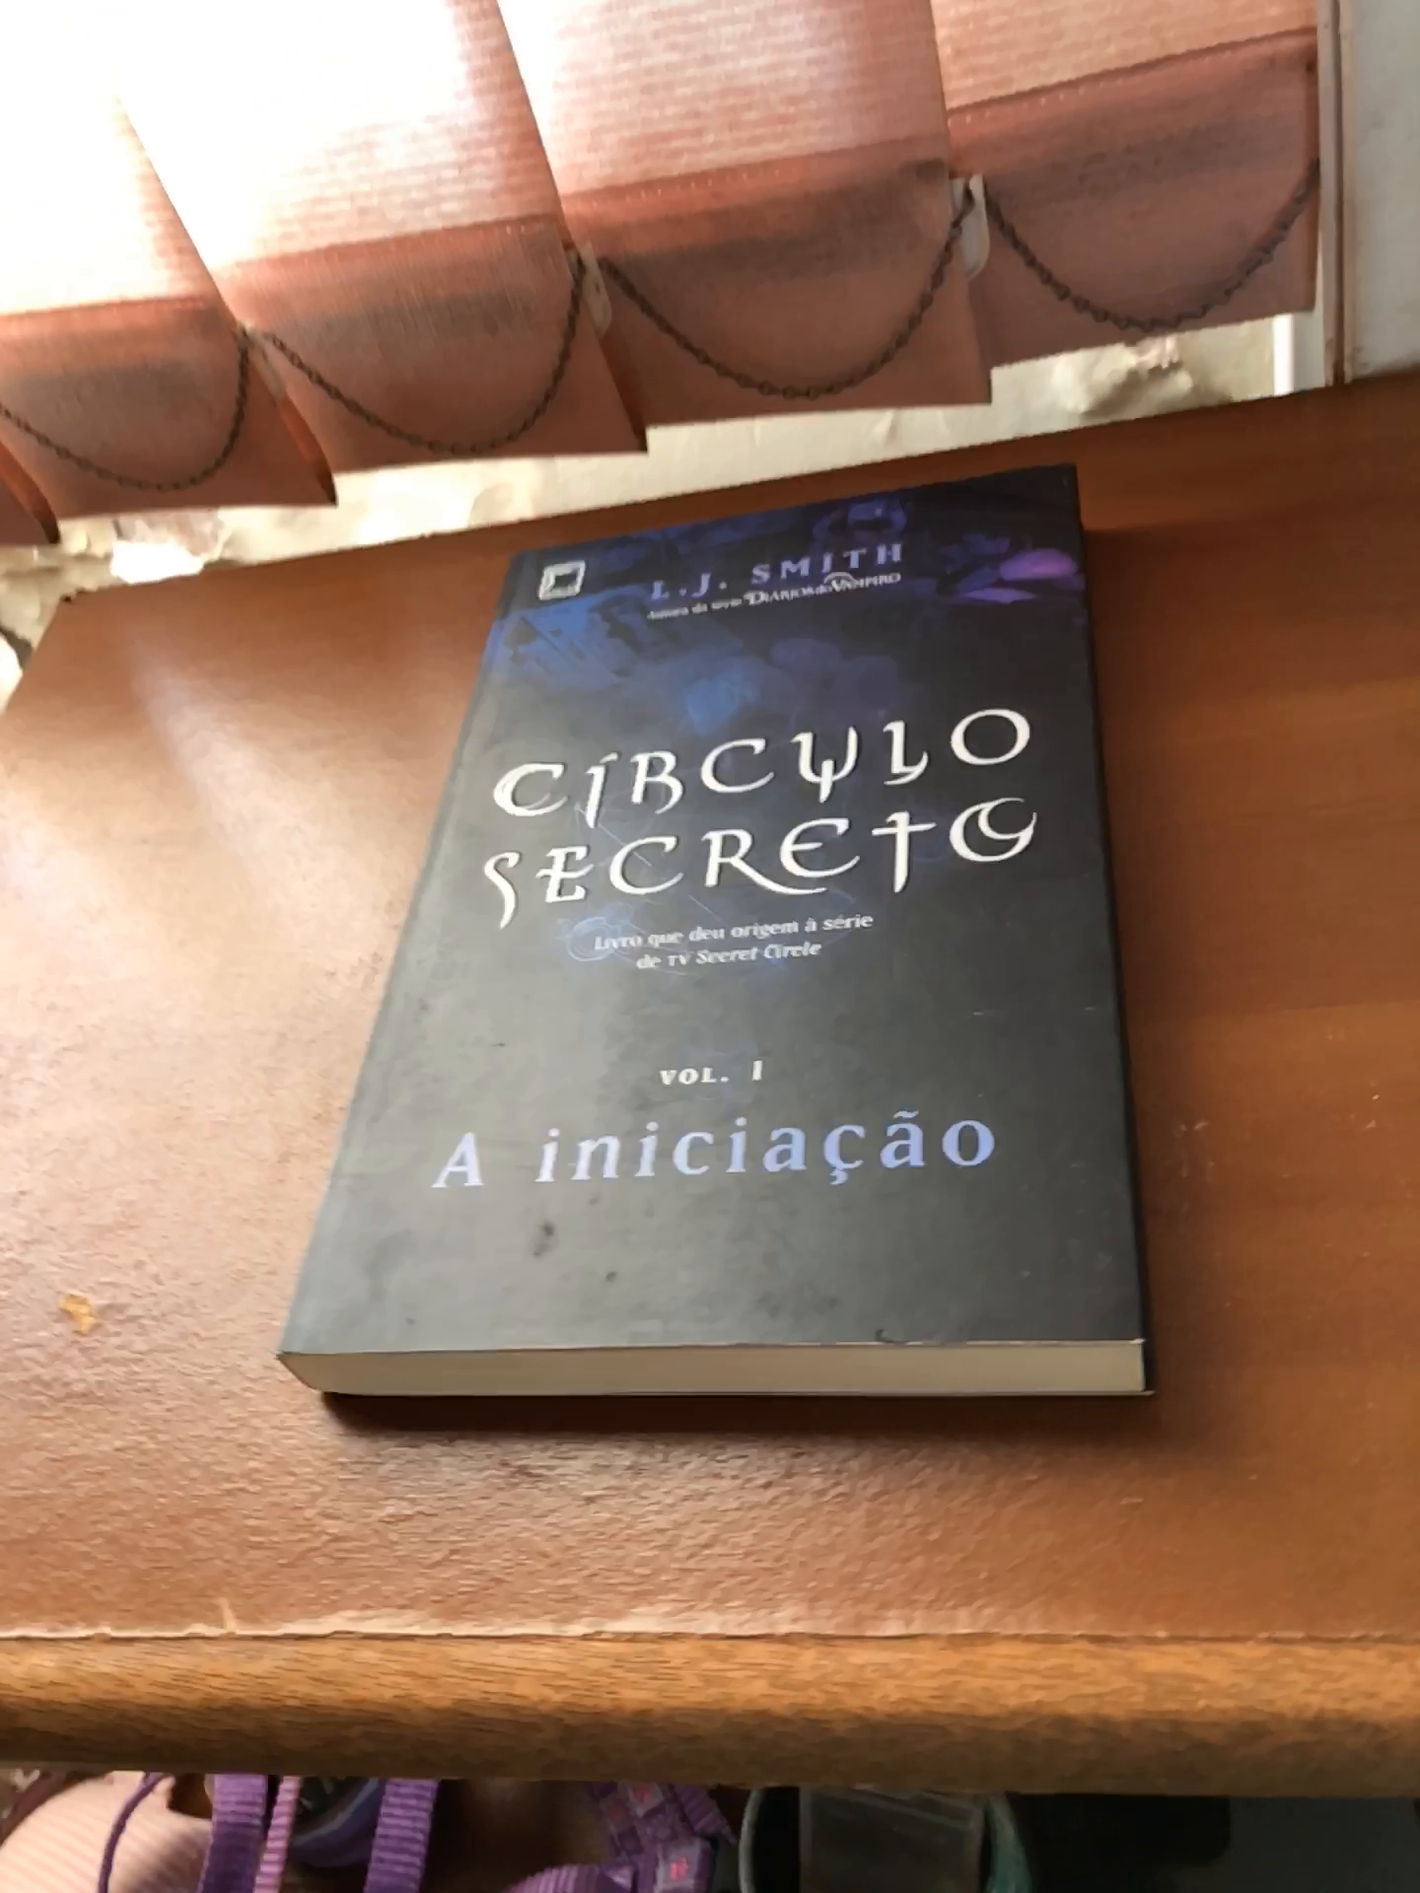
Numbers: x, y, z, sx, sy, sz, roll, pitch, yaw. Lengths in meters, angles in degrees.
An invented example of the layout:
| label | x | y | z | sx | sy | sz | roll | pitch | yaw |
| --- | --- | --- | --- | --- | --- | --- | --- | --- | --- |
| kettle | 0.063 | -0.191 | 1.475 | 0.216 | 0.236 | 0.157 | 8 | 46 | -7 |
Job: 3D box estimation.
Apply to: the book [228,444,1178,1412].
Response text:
| label | x | y | z | sx | sy | sz | roll | pitch | yaw |
| --- | --- | --- | --- | --- | --- | --- | --- | --- | --- |
| book | 0.007 | -0.017 | 0.304 | 0.140 | 0.024 | 0.215 | -4 | 48 | 13 |
